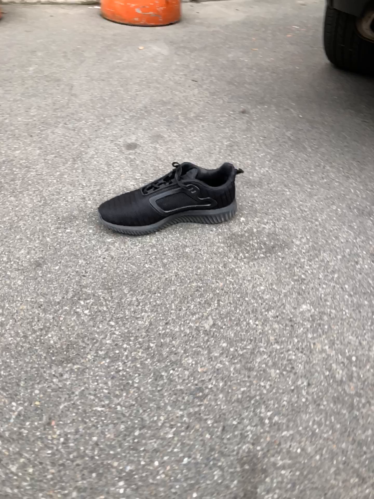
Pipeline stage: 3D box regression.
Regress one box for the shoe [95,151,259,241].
[{"bbox_3d":[-0.024,-0.105,0.772,0.280,0.109,0.101,-7,43,-14],"label":"shoe"}]
